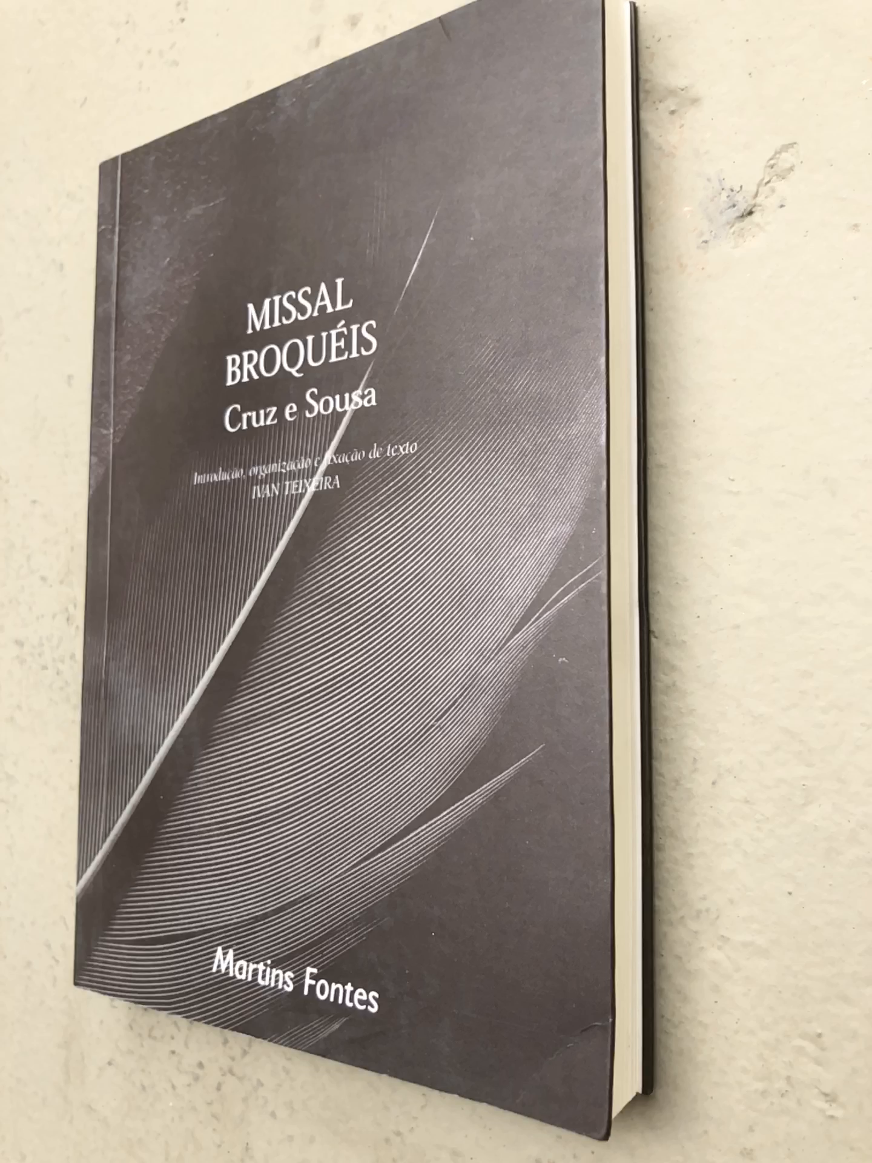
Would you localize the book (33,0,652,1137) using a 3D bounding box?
[{"bbox_3d":[-0.025,-0.007,0.183,0.128,0.016,0.173,-3,84,33],"label":"book"}]
